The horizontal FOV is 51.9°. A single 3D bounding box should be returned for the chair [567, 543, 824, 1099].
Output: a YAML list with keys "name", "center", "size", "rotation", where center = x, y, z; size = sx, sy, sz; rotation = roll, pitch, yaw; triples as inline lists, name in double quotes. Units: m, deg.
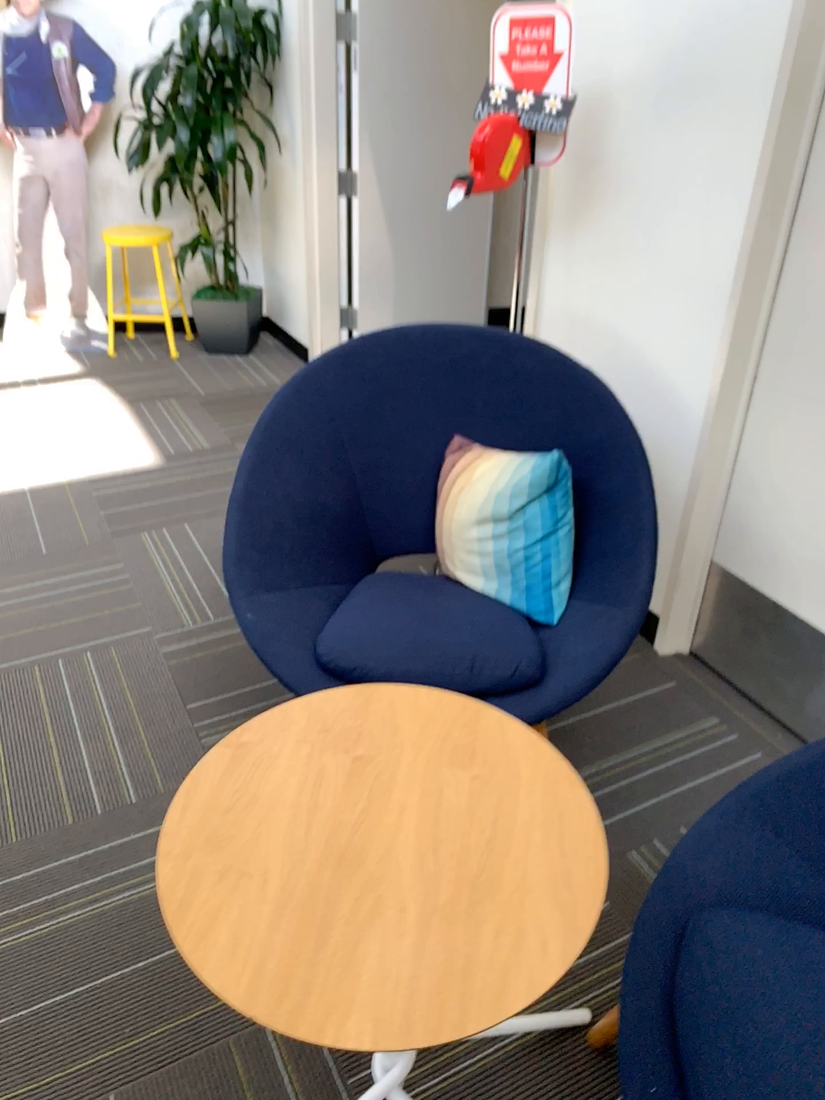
- name: "chair"
  center: [0.760, 0.674, 0.974]
  size: [0.981, 0.944, 0.834]
  rotation: [8, 31, 11]

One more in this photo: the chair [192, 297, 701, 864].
- name: "chair"
  center: [0.098, 0.001, 1.871]
  size: [0.791, 0.835, 0.844]
  rotation: [7, 31, 8]
